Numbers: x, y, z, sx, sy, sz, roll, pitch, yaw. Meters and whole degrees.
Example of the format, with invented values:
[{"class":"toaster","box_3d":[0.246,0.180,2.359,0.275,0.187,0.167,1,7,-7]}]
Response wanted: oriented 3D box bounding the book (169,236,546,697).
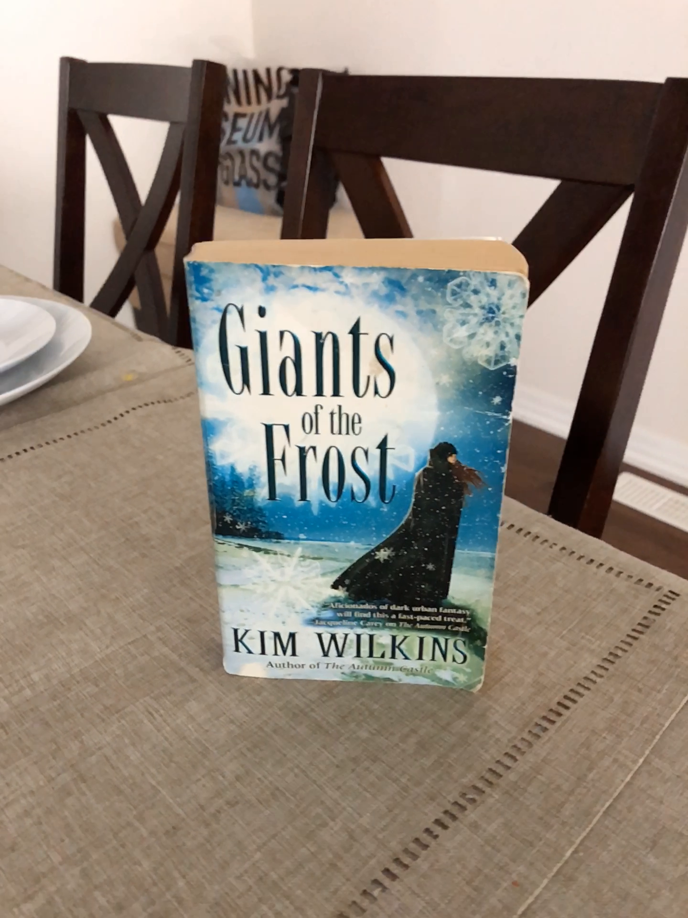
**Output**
[{"class":"book","box_3d":[0.005,0.008,0.284,0.111,0.168,0.043,1,27,3]}]
